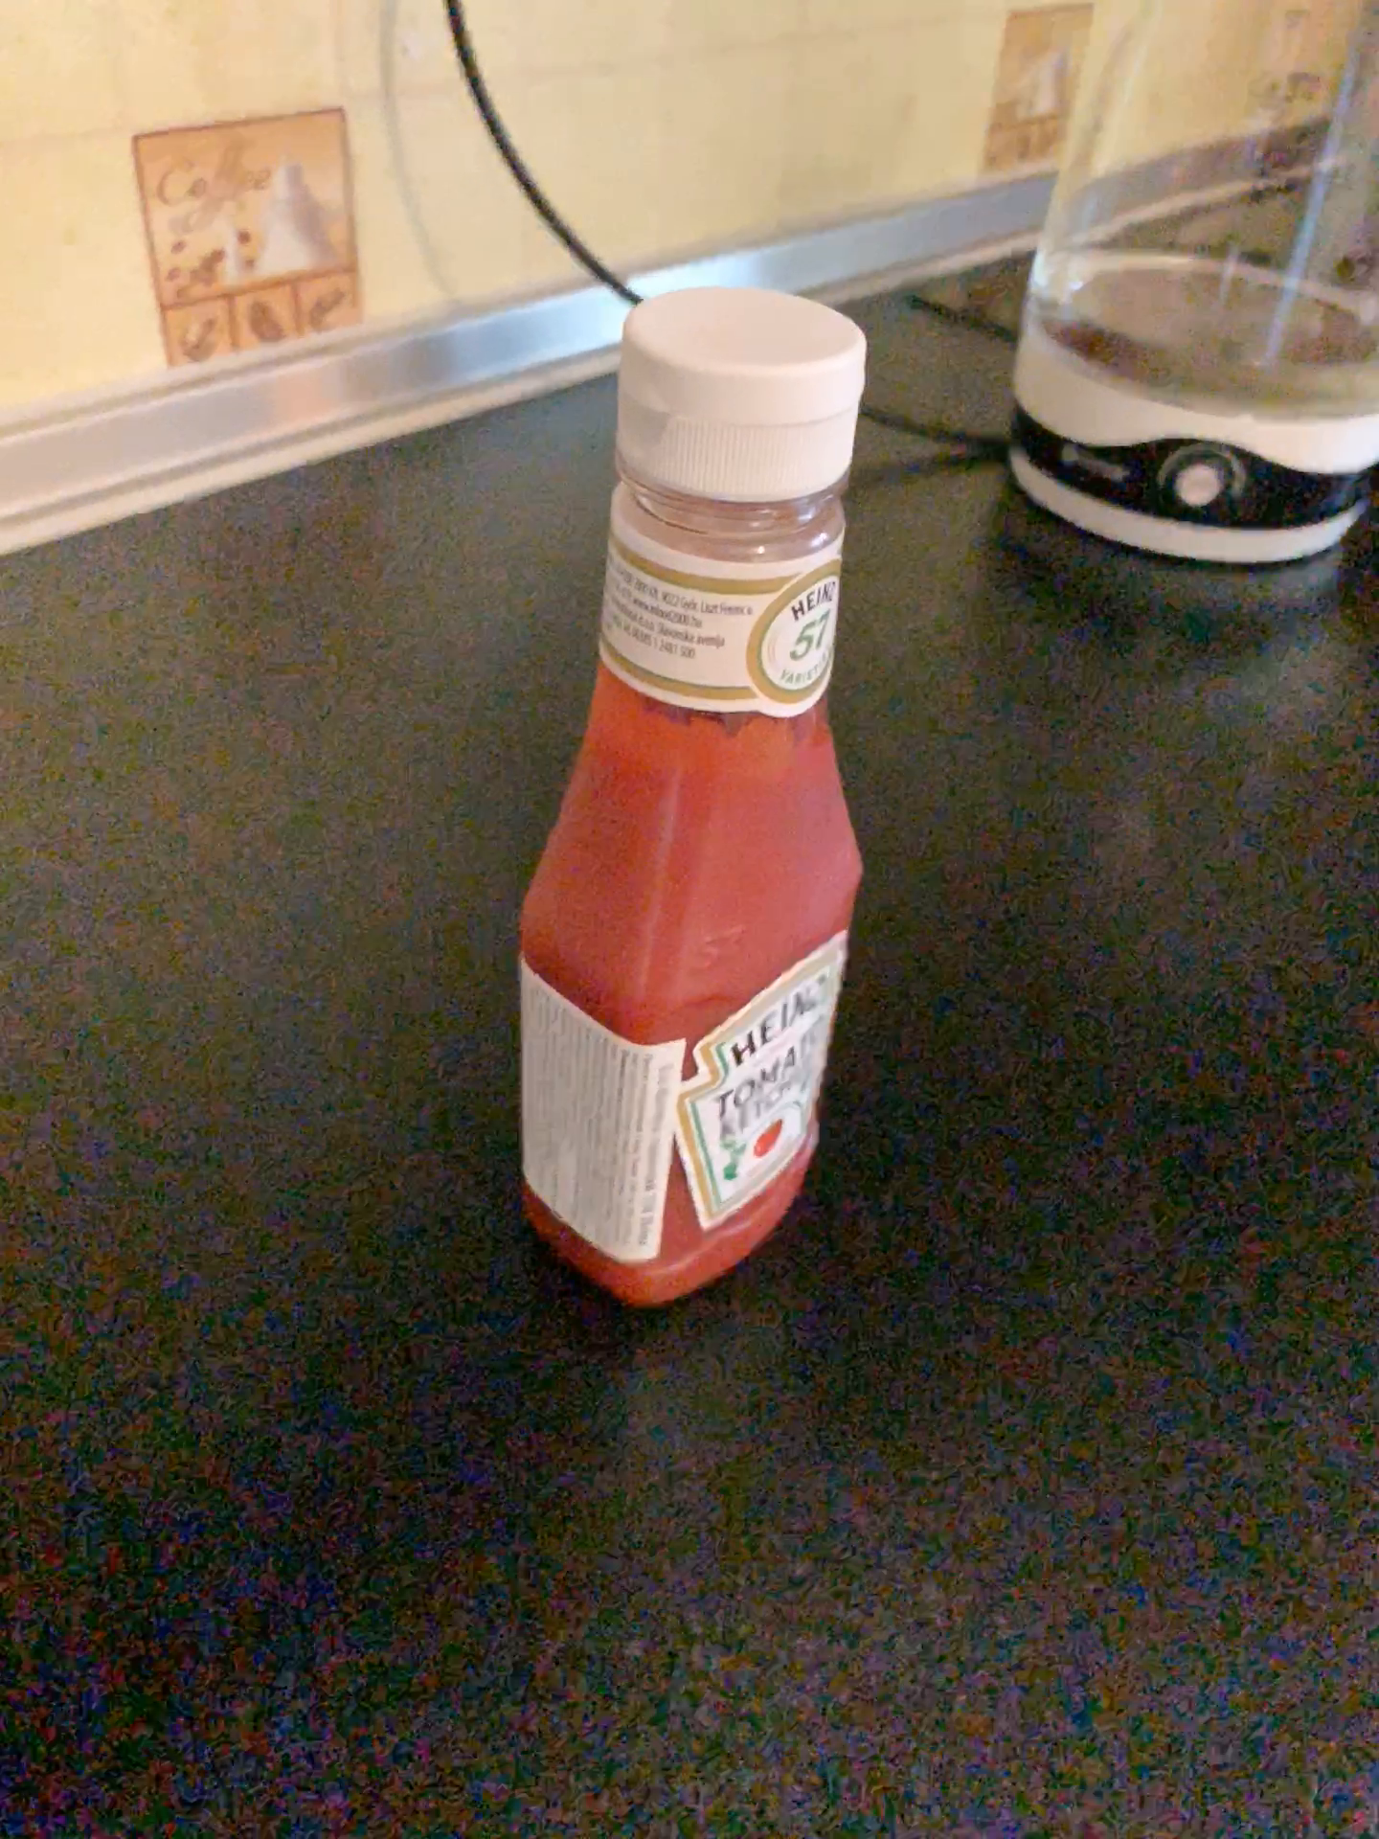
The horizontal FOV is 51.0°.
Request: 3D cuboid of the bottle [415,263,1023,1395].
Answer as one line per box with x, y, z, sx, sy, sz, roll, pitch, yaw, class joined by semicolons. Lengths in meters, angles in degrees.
-0.001;-0.005;0.258;0.050;0.189;0.070;32;47;28;bottle
